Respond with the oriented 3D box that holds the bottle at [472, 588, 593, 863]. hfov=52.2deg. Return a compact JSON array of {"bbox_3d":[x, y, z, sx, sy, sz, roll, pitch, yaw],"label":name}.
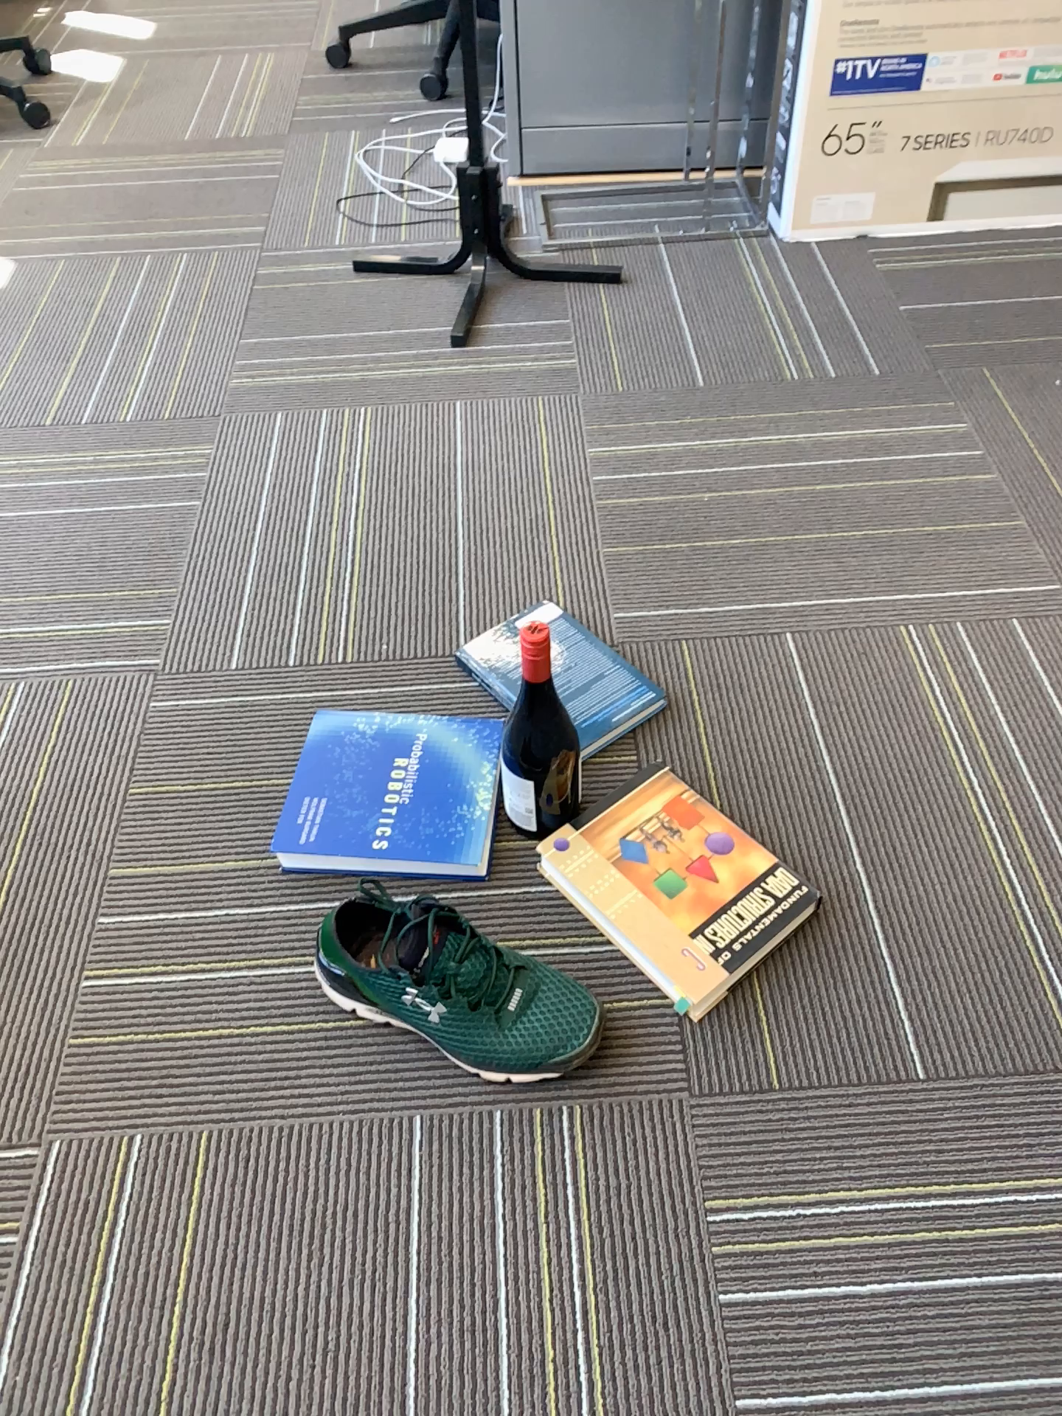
[{"bbox_3d":[0.005,0.027,1.127,0.080,0.298,0.090,-24,51,-18],"label":"bottle"}]
